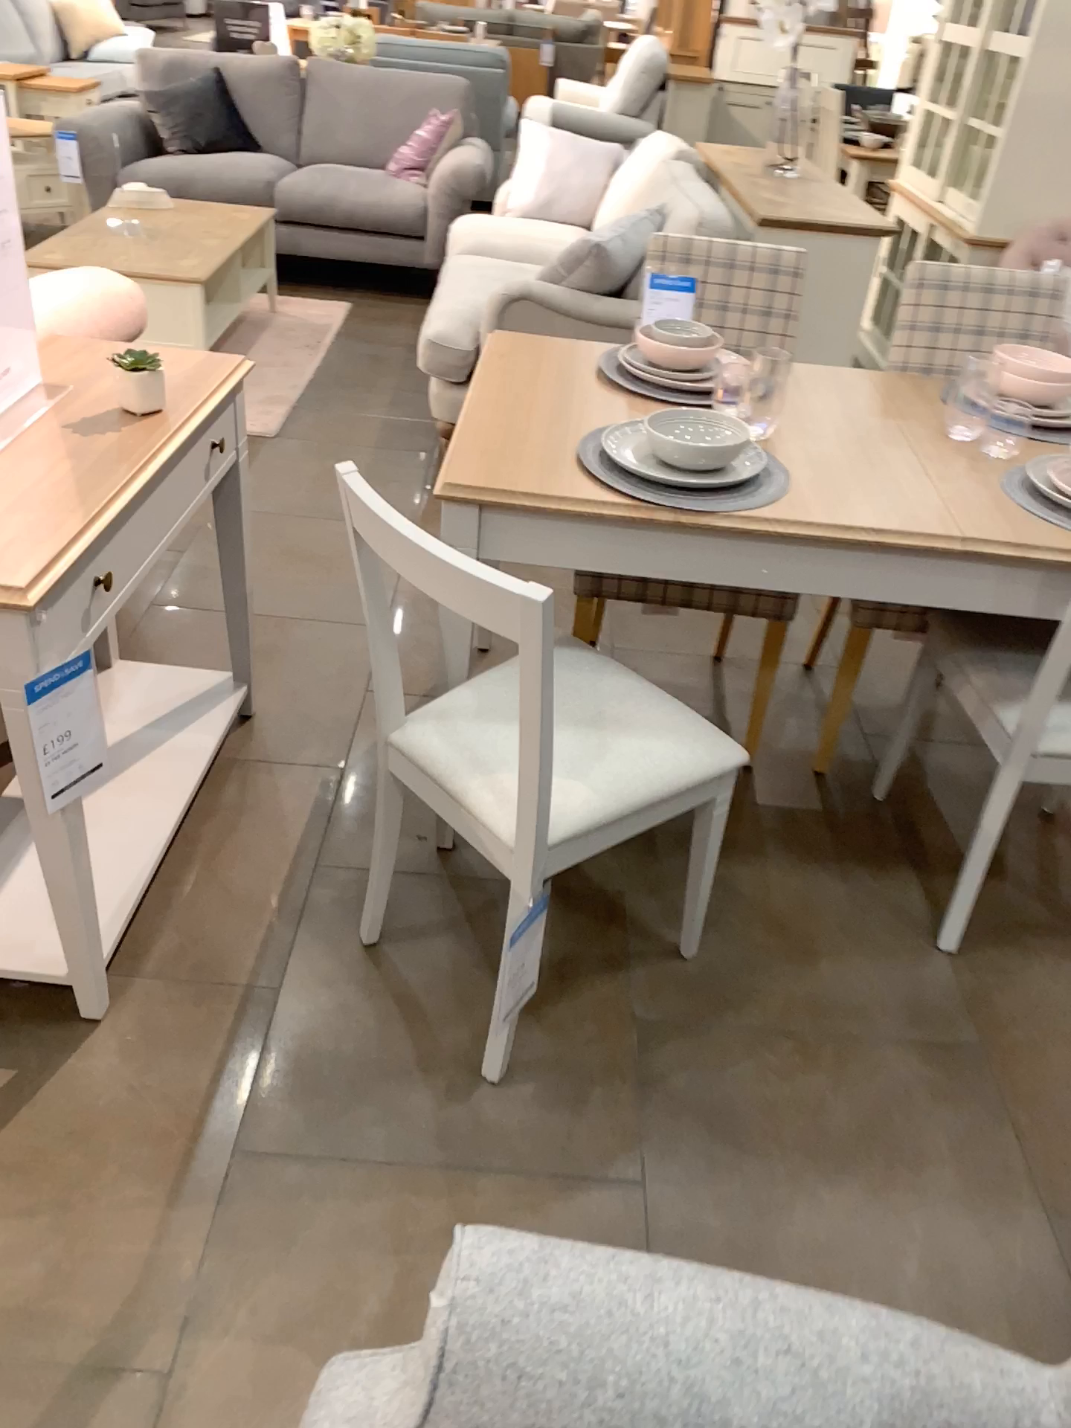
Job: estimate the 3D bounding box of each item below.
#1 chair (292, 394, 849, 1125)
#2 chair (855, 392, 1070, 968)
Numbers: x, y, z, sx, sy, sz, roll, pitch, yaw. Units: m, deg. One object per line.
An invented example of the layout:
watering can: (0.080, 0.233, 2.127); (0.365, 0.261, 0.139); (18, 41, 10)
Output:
chair: (0.012, 0.045, 1.598); (0.536, 0.817, 0.463); (-23, 44, -36)
chair: (0.942, -0.056, 1.921); (0.430, 0.817, 0.540); (4, 34, -3)
